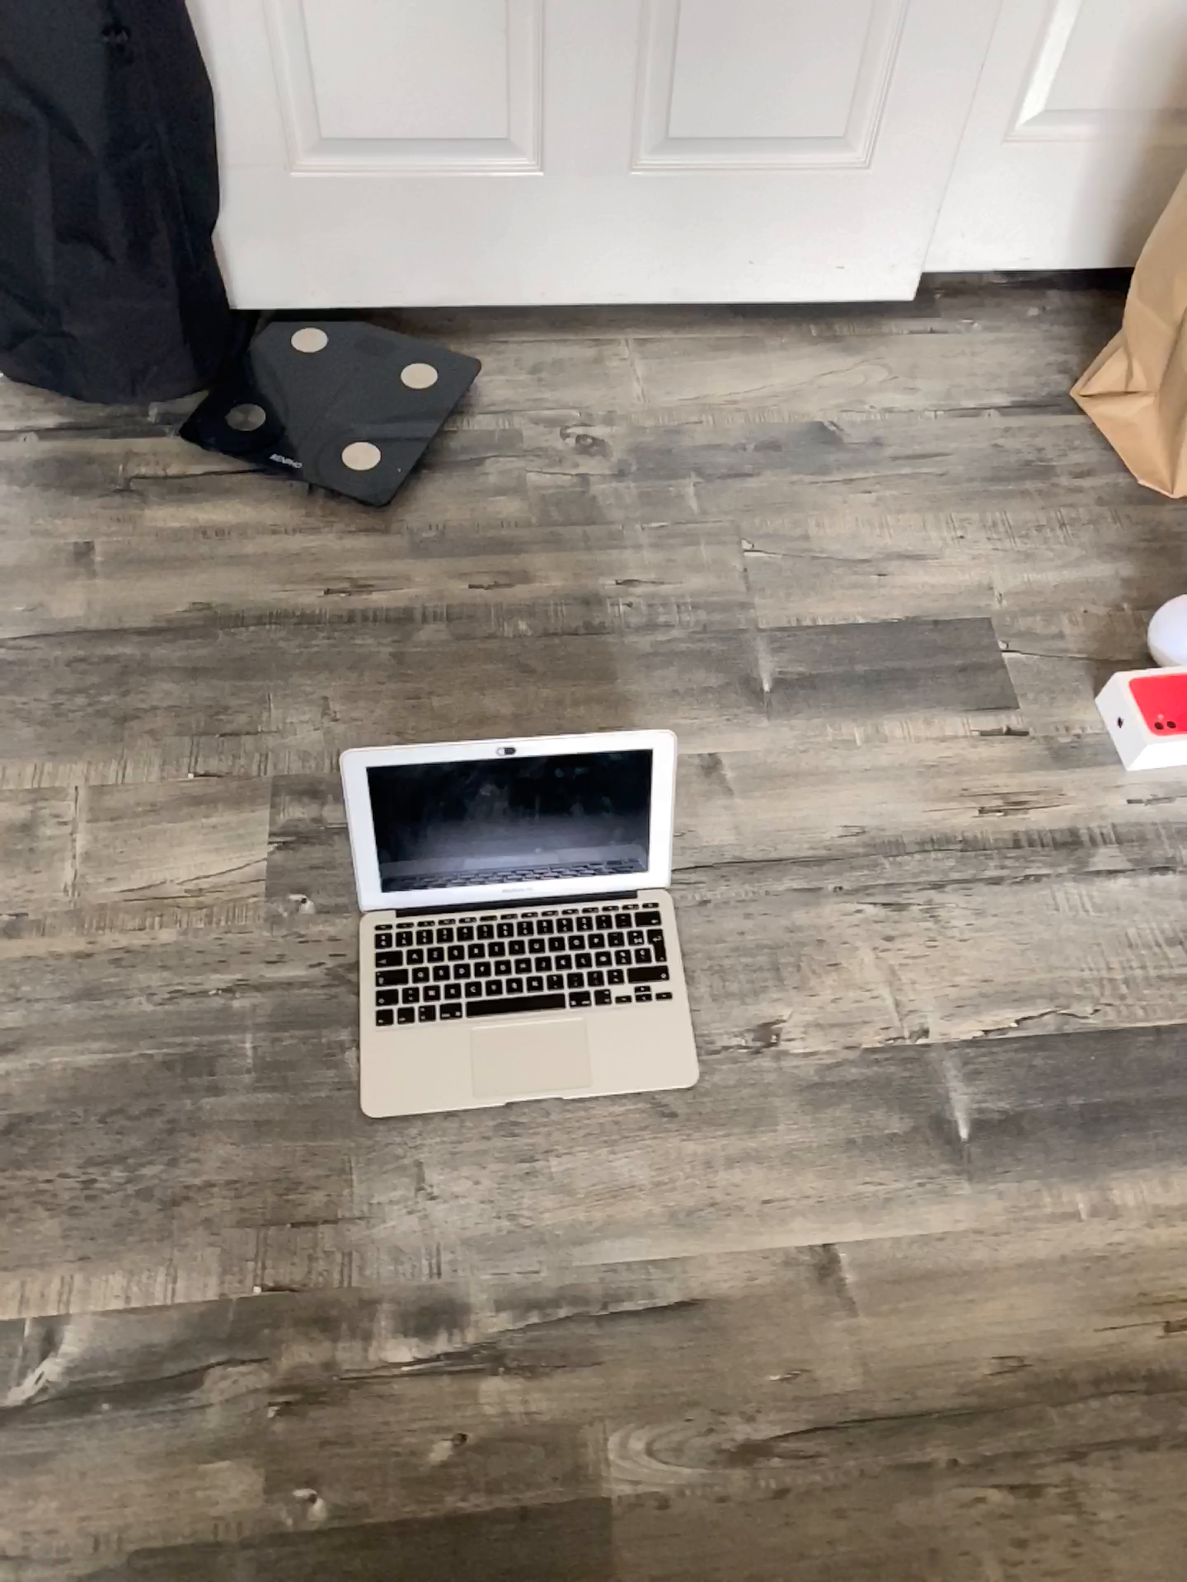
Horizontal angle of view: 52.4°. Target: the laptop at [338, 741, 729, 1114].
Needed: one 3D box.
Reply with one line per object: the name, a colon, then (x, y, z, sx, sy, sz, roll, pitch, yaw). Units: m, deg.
laptop: (-0.061, 0.113, 1.029, 0.290, 0.159, 0.255, -4, 56, -6)
